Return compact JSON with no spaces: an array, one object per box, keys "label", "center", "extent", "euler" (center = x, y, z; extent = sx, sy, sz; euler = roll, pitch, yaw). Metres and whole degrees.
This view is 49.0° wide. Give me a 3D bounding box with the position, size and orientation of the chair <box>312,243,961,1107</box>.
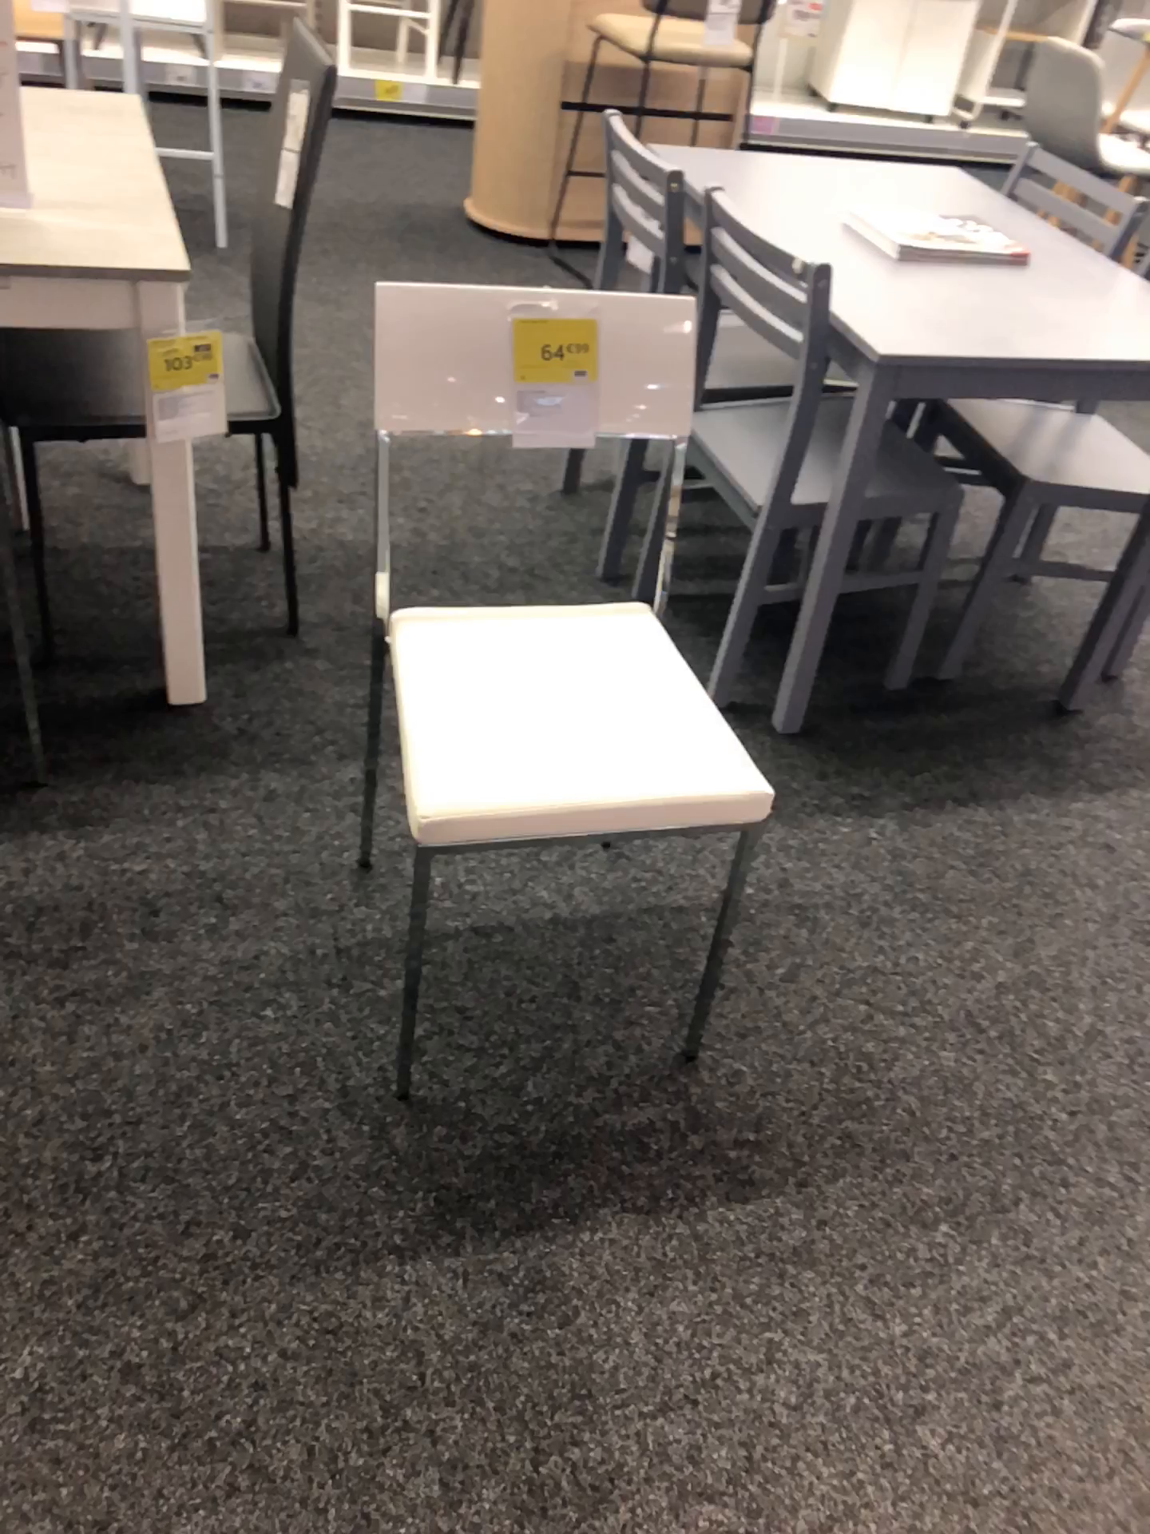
[{"label":"chair","center":[-0.021,-0.106,1.512],"extent":[0.501,0.815,0.542],"euler":[-5,40,-18]}]
